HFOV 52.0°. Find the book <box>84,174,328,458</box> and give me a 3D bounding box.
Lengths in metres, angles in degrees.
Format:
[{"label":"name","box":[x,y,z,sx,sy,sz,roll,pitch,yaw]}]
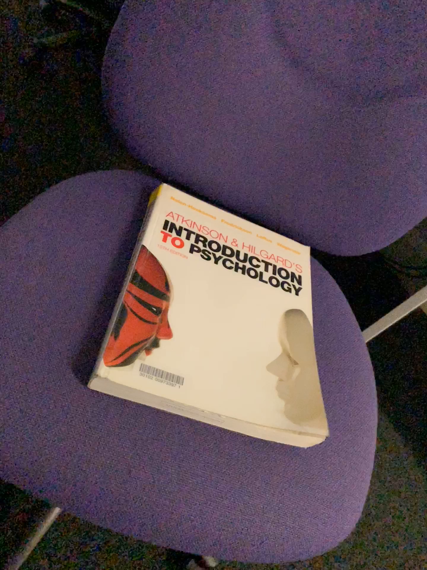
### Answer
[{"label":"book","box":[0.012,0.015,0.484,0.222,0.034,0.285,22,45,-14]}]
